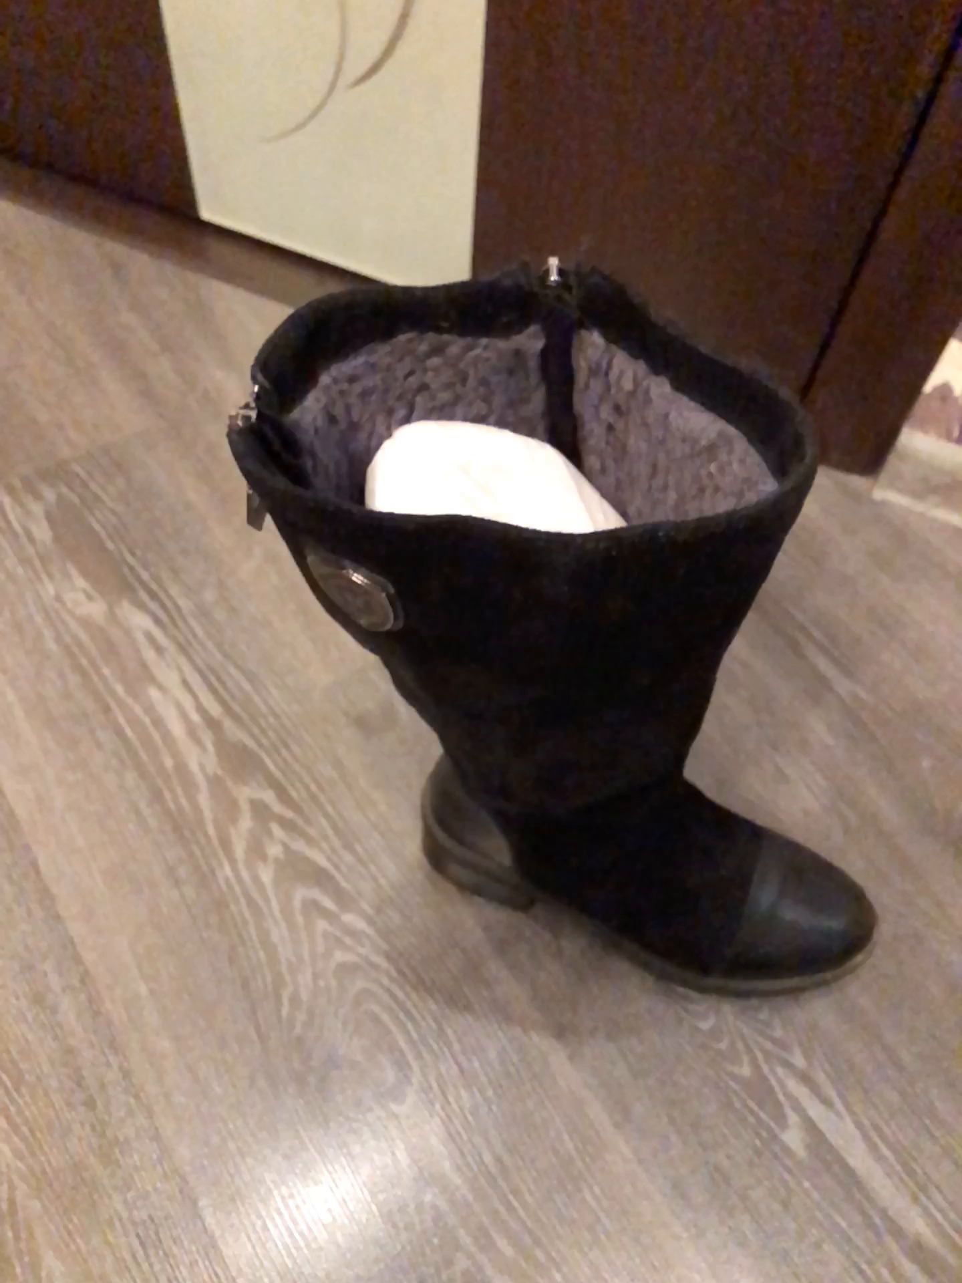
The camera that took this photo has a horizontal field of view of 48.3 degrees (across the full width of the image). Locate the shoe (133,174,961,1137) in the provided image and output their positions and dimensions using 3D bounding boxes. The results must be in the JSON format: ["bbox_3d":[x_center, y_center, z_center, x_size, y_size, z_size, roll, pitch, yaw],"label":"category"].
[{"bbox_3d":[0.067,0.051,0.409,0.290,0.358,0.121,16,58,7],"label":"shoe"}]
